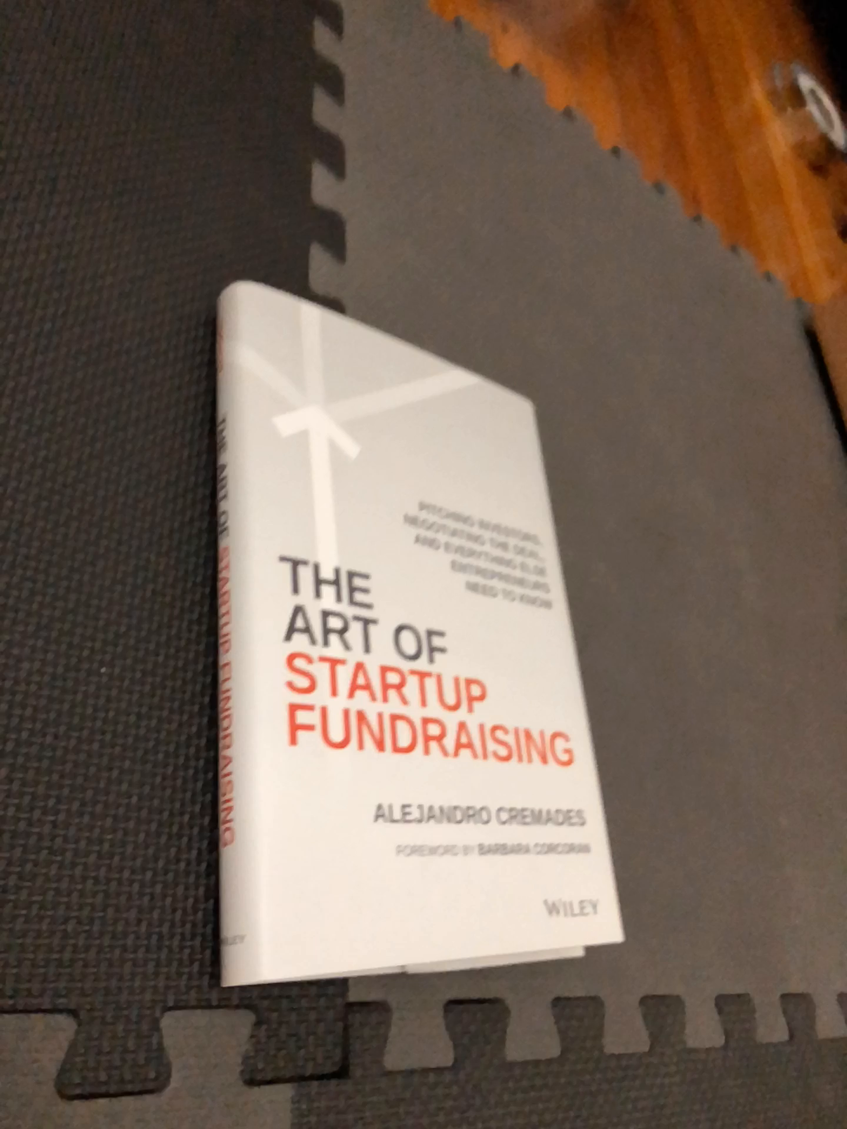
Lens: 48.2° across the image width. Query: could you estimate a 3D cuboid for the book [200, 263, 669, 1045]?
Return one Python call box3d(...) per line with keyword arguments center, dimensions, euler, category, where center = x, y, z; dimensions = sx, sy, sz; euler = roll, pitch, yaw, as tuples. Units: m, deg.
box3d(center=(0.003, 0.028, 0.350), dimensions=(0.171, 0.030, 0.250), euler=(16, 58, -38), category="book")
